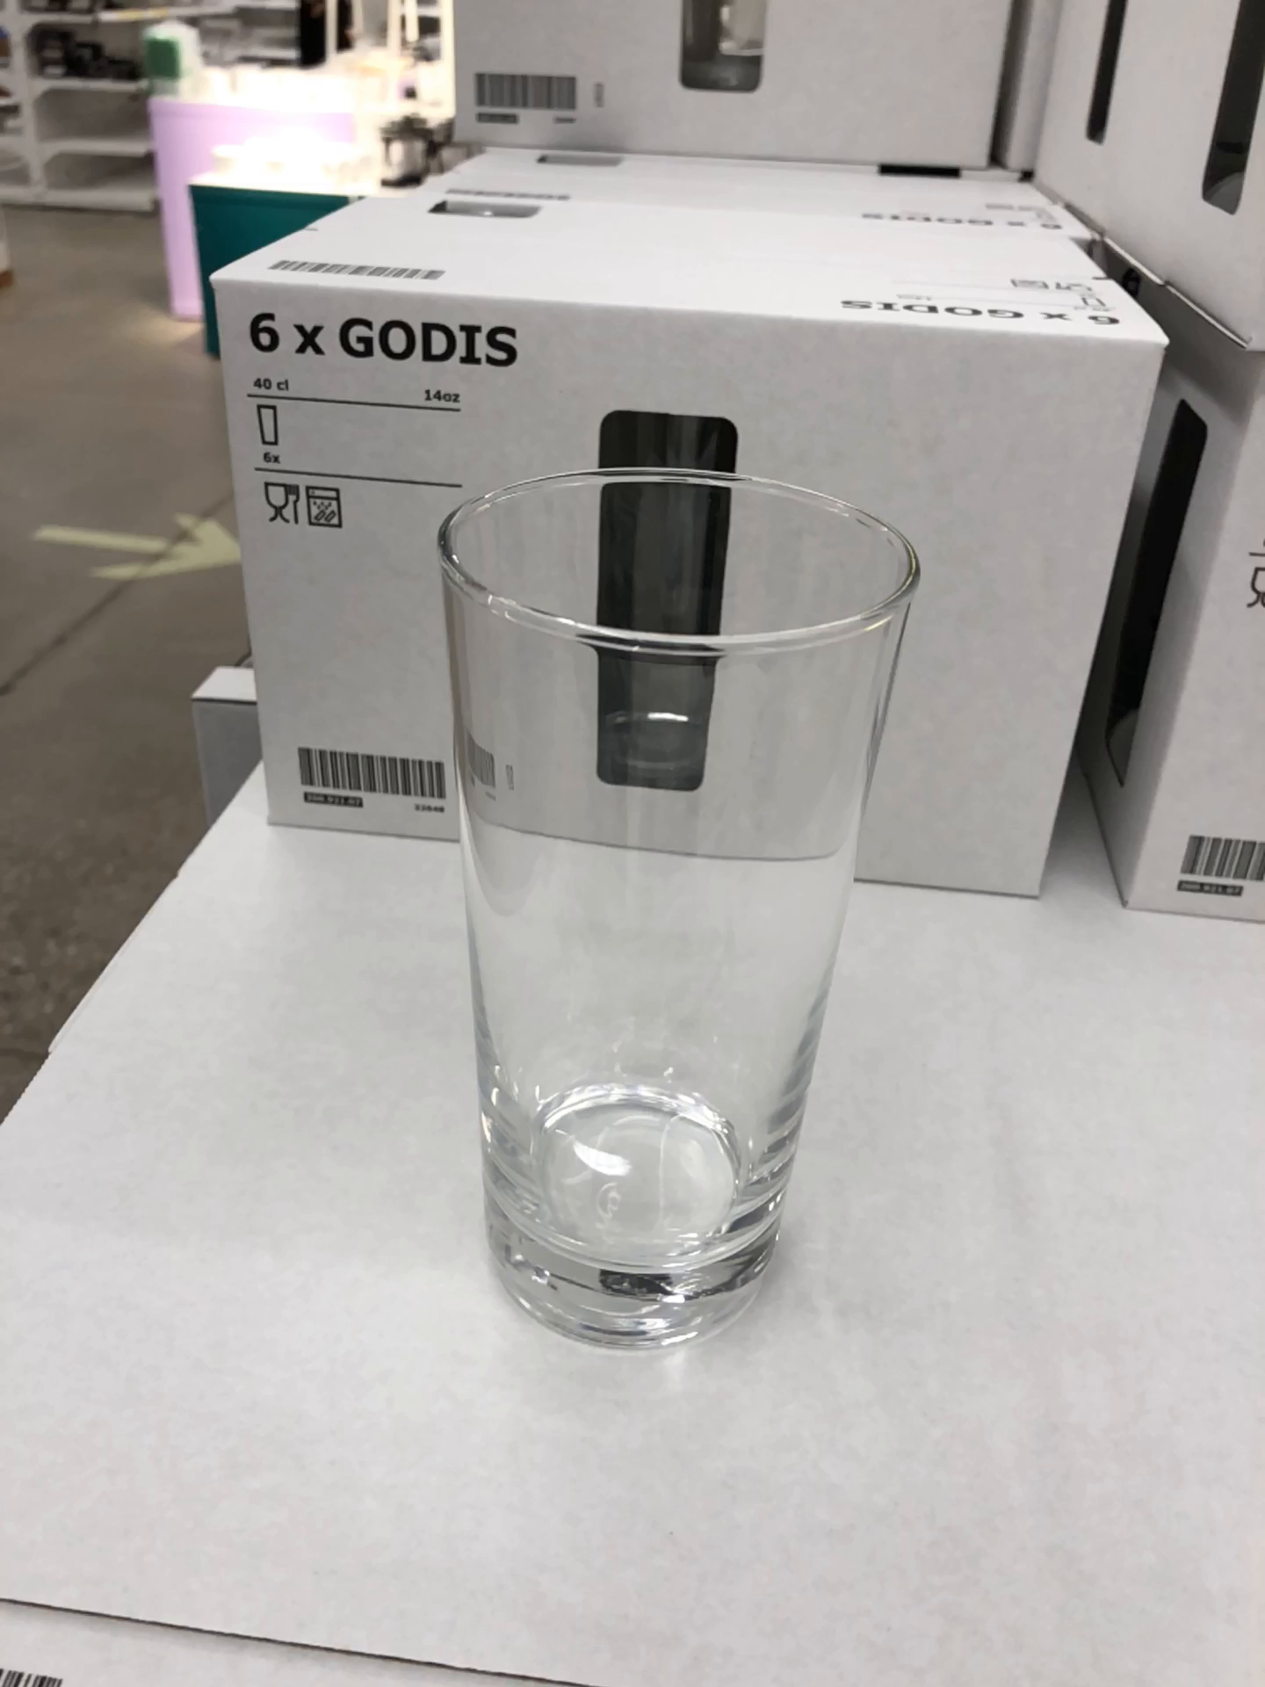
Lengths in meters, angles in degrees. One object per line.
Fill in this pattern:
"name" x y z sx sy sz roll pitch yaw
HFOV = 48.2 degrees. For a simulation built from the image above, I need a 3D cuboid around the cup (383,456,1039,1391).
"cup" 0.004 0.012 0.258 0.080 0.139 0.080 2 31 -1
